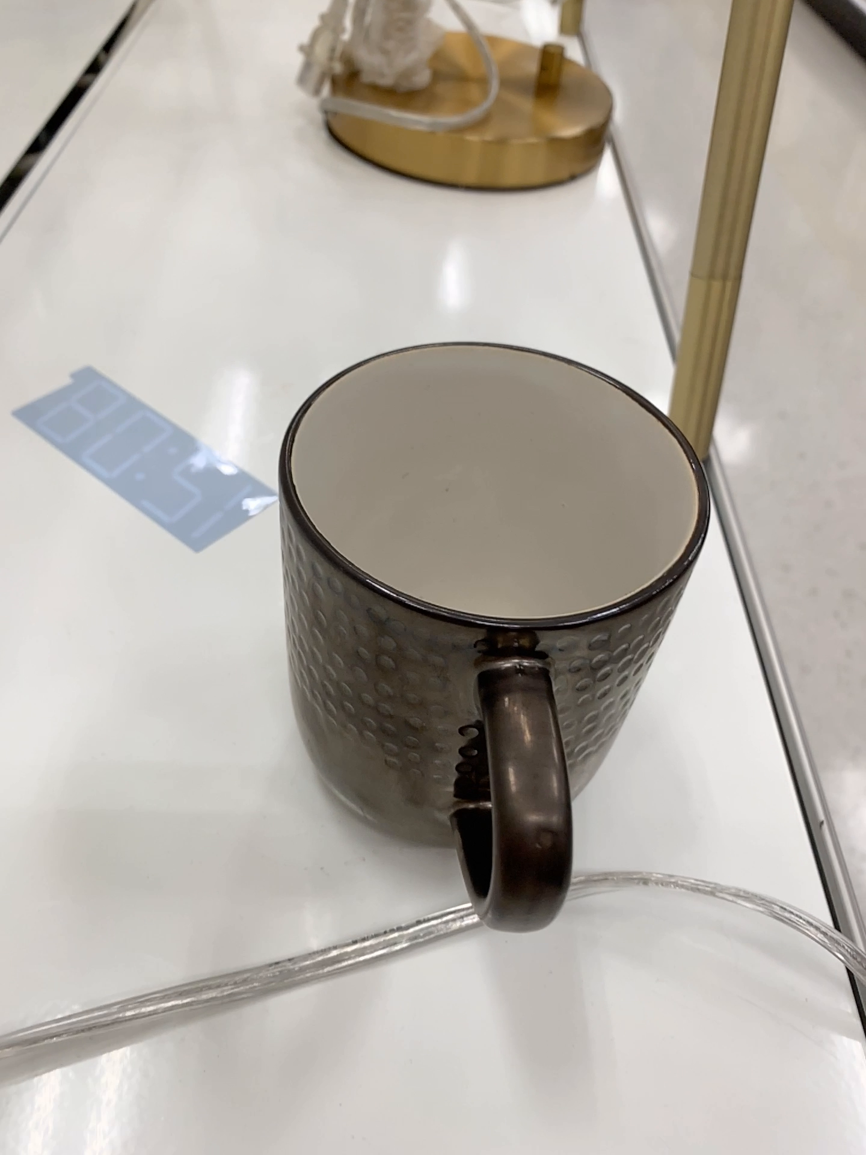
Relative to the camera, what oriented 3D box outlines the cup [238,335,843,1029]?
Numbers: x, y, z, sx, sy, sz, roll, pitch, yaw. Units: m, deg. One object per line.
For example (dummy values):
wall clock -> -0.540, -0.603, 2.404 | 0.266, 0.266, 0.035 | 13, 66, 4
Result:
cup -> 0.010, 0.021, 0.217 | 0.095, 0.093, 0.131 | 1, 48, -7
